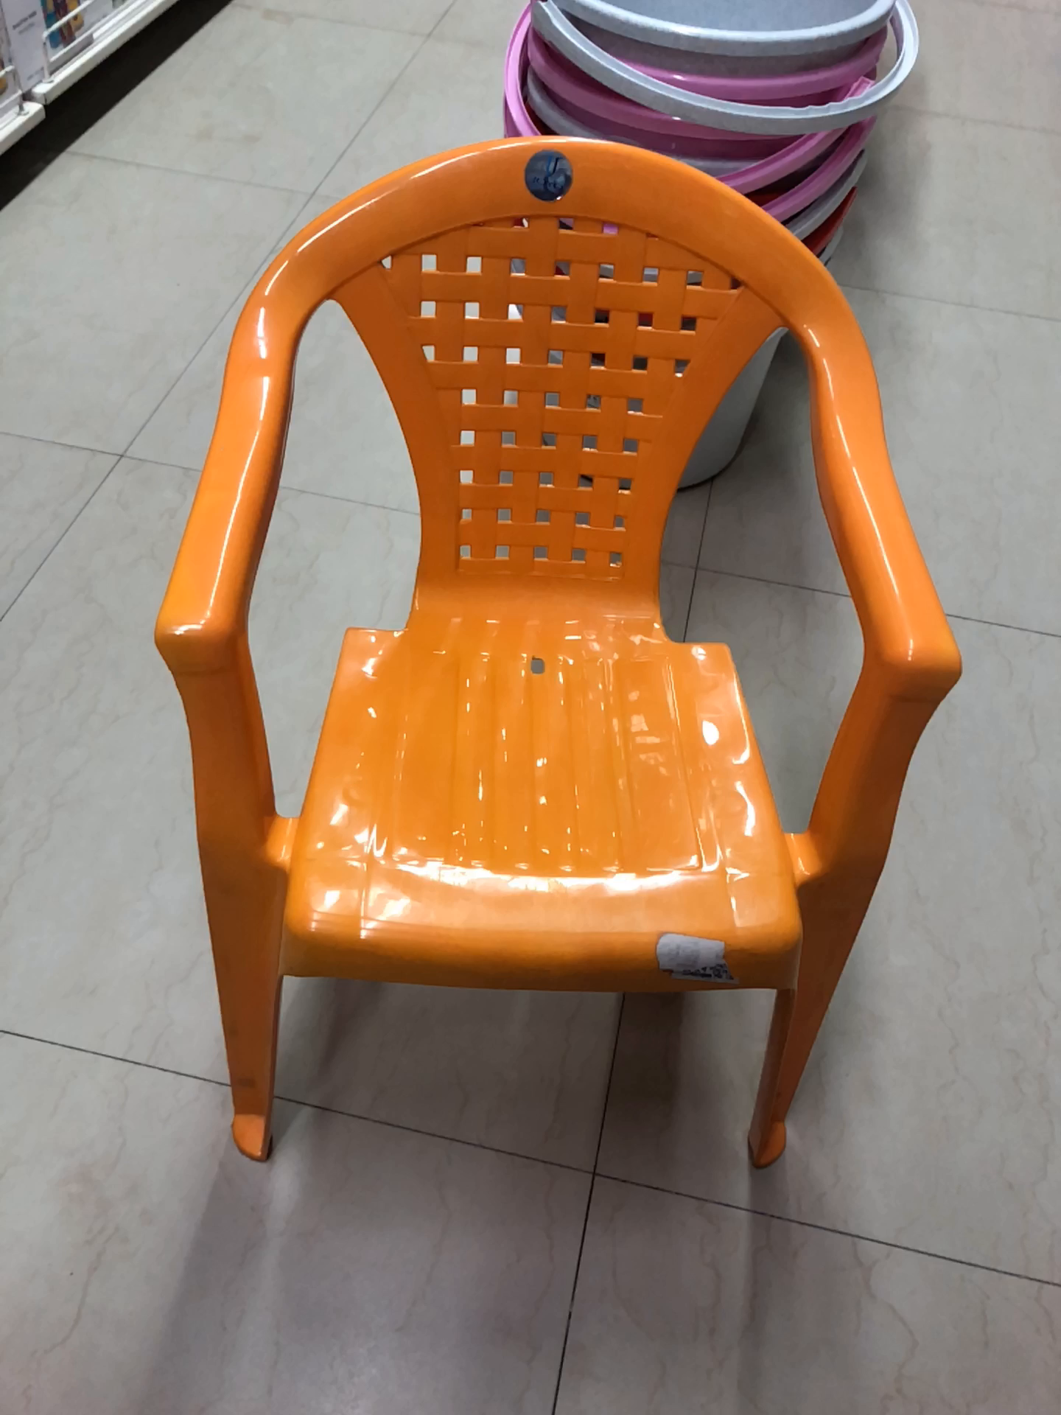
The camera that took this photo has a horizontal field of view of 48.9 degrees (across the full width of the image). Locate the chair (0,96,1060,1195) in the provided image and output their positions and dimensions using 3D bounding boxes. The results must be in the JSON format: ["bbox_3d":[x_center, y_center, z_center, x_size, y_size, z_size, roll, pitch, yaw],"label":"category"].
[{"bbox_3d":[0.006,-0.012,0.673,0.390,0.467,0.402,3,49,-2],"label":"chair"}]
